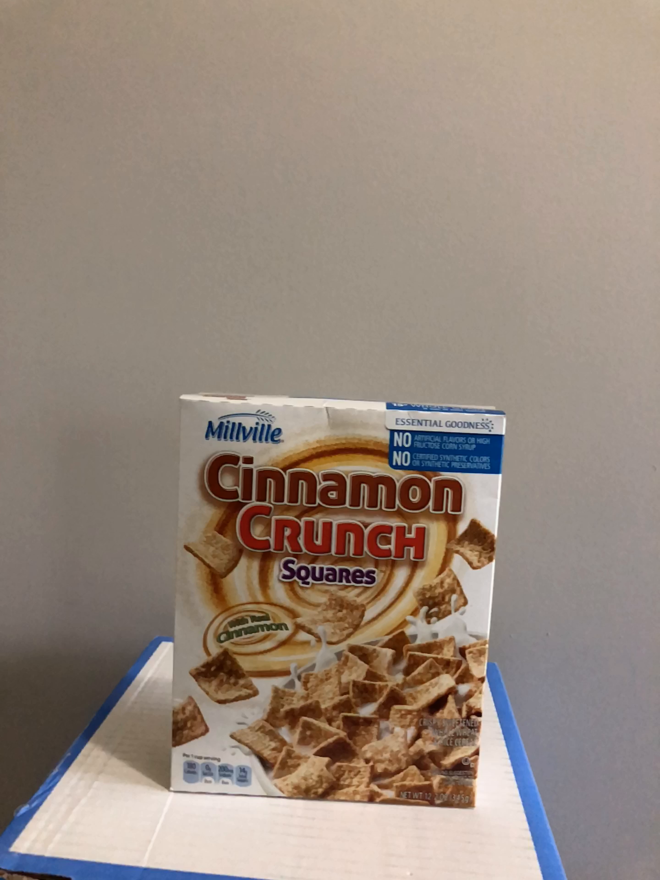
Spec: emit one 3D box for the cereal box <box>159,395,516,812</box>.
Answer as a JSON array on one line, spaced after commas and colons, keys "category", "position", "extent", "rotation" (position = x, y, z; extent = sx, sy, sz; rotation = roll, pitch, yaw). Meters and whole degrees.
[{"category": "cereal box", "position": [0.001, 0.102, 0.485], "extent": [0.210, 0.250, 0.070], "rotation": [3, 8, 2]}]
